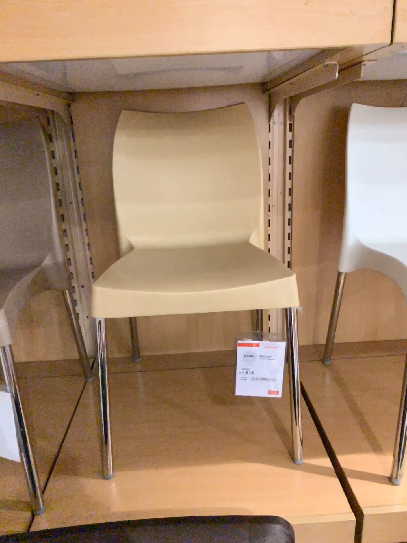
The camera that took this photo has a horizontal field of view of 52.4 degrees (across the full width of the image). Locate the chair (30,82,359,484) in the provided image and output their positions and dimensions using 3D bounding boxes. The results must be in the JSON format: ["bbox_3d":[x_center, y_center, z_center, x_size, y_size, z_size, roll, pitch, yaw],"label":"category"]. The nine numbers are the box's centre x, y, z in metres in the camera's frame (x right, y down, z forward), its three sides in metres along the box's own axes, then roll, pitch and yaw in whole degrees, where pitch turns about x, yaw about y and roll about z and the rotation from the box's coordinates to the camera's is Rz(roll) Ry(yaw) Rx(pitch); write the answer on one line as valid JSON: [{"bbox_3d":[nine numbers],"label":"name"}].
[{"bbox_3d":[-0.026,-0.020,1.081,0.540,0.807,0.592,-2,18,-4],"label":"chair"}]
